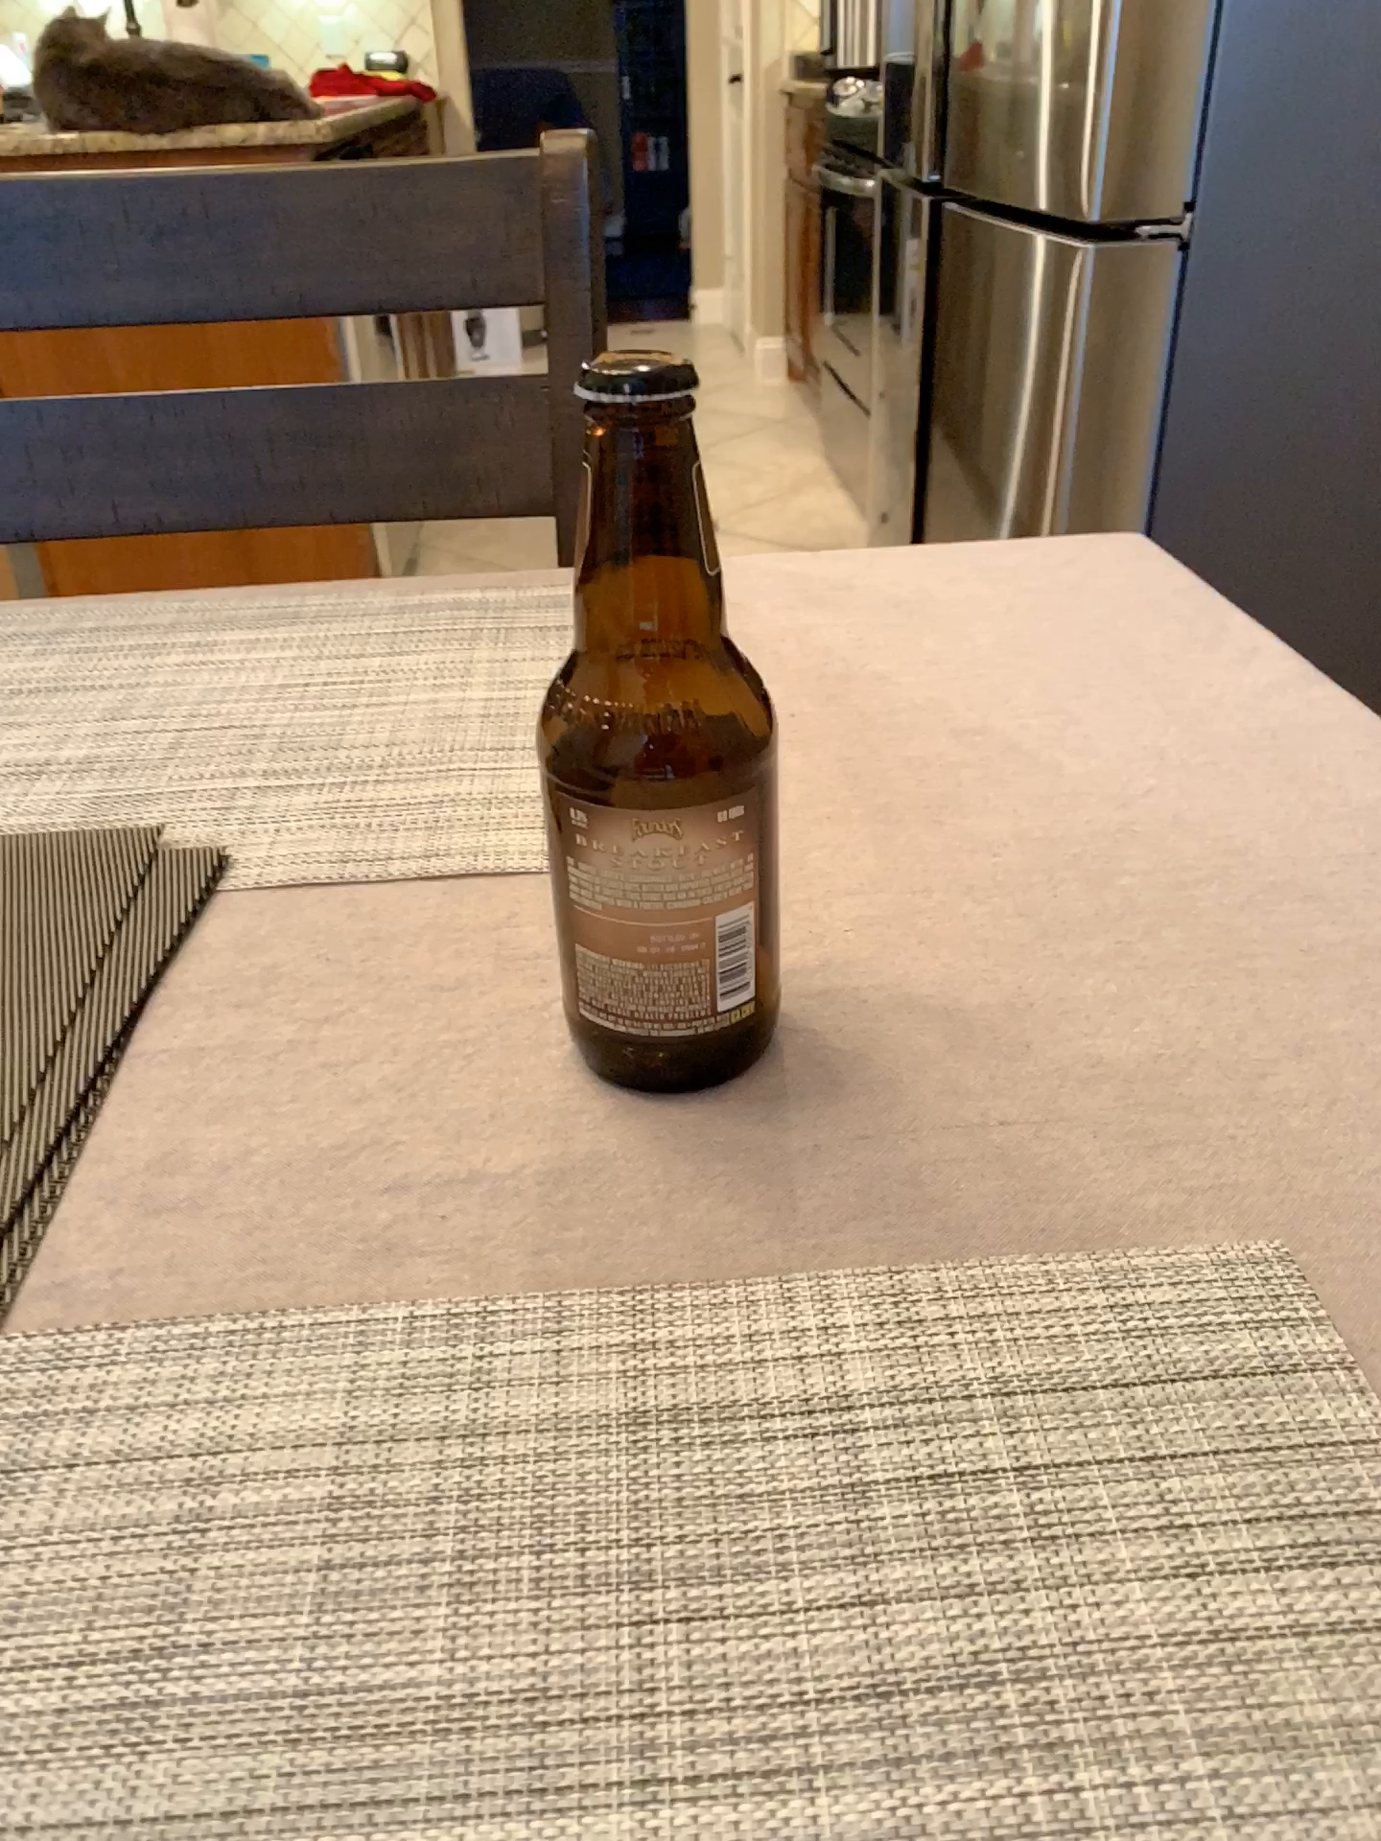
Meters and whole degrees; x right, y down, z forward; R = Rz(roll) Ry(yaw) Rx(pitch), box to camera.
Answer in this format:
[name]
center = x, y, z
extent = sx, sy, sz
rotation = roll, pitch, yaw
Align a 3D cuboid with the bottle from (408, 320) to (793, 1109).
[bottle]
center = -0.014, -0.050, 0.376
extent = 0.080, 0.189, 0.080
rotation = -2, 31, 1
